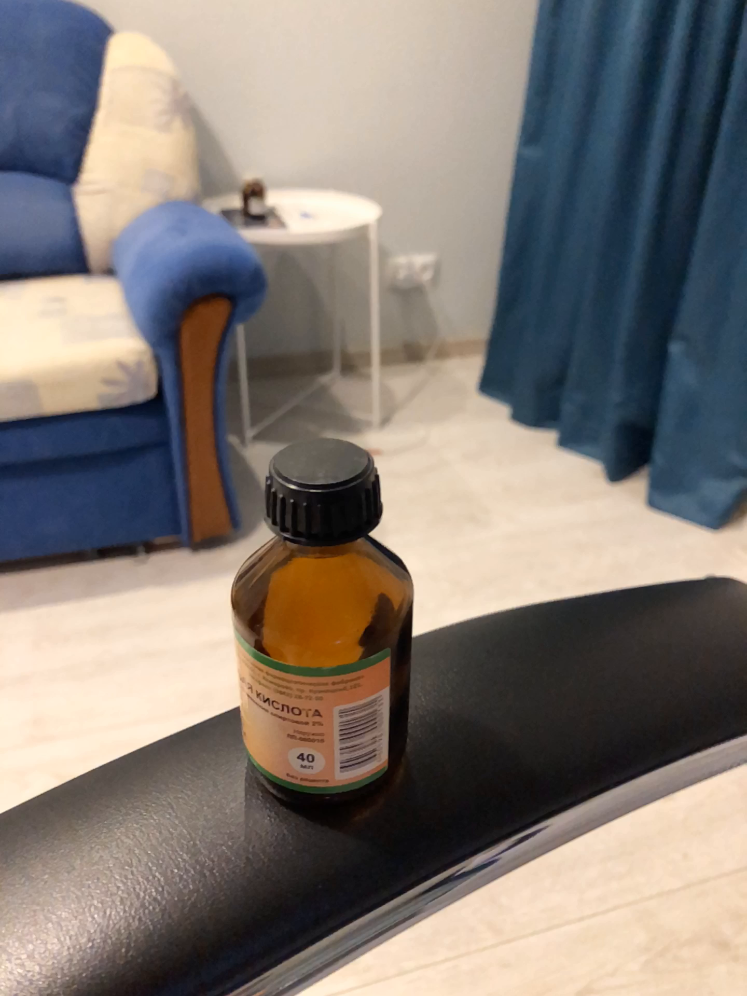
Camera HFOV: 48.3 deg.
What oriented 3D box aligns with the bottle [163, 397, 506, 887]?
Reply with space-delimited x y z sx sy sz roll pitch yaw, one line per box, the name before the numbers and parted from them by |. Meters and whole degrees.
bottle | -0.010 0.030 0.188 0.050 0.083 0.050 1 30 -1
